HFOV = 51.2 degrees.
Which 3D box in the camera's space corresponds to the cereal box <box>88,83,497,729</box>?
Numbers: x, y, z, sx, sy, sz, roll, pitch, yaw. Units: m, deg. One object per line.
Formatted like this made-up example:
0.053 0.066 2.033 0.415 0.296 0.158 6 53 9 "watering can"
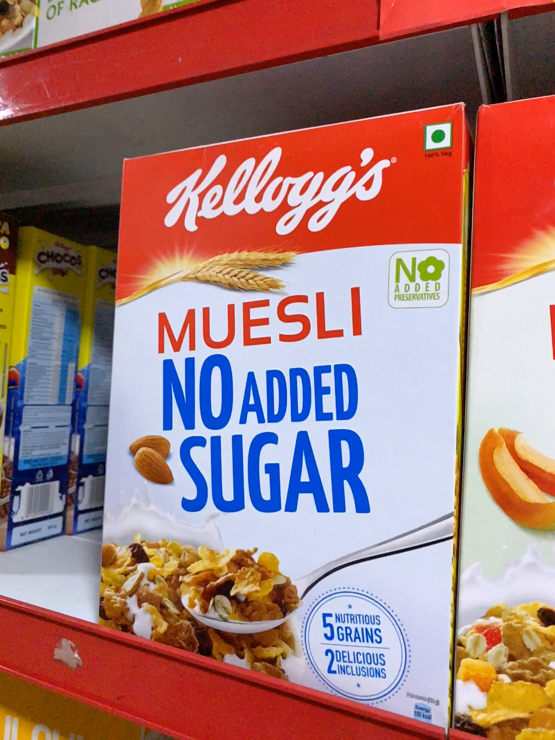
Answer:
0.003 0.008 0.278 0.180 0.240 0.050 2 -3 26 "cereal box"
